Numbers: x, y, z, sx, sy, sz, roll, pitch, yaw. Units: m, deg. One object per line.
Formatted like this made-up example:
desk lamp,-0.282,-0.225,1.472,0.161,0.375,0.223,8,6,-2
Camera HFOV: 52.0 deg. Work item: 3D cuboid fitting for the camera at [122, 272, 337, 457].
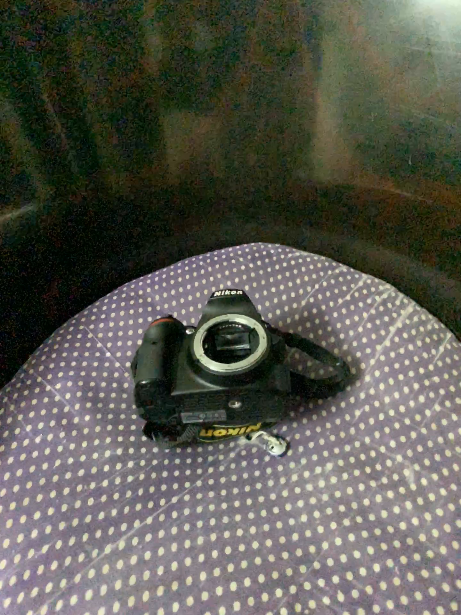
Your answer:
camera,-0.001,0.043,0.374,0.140,0.080,0.110,-4,46,1
